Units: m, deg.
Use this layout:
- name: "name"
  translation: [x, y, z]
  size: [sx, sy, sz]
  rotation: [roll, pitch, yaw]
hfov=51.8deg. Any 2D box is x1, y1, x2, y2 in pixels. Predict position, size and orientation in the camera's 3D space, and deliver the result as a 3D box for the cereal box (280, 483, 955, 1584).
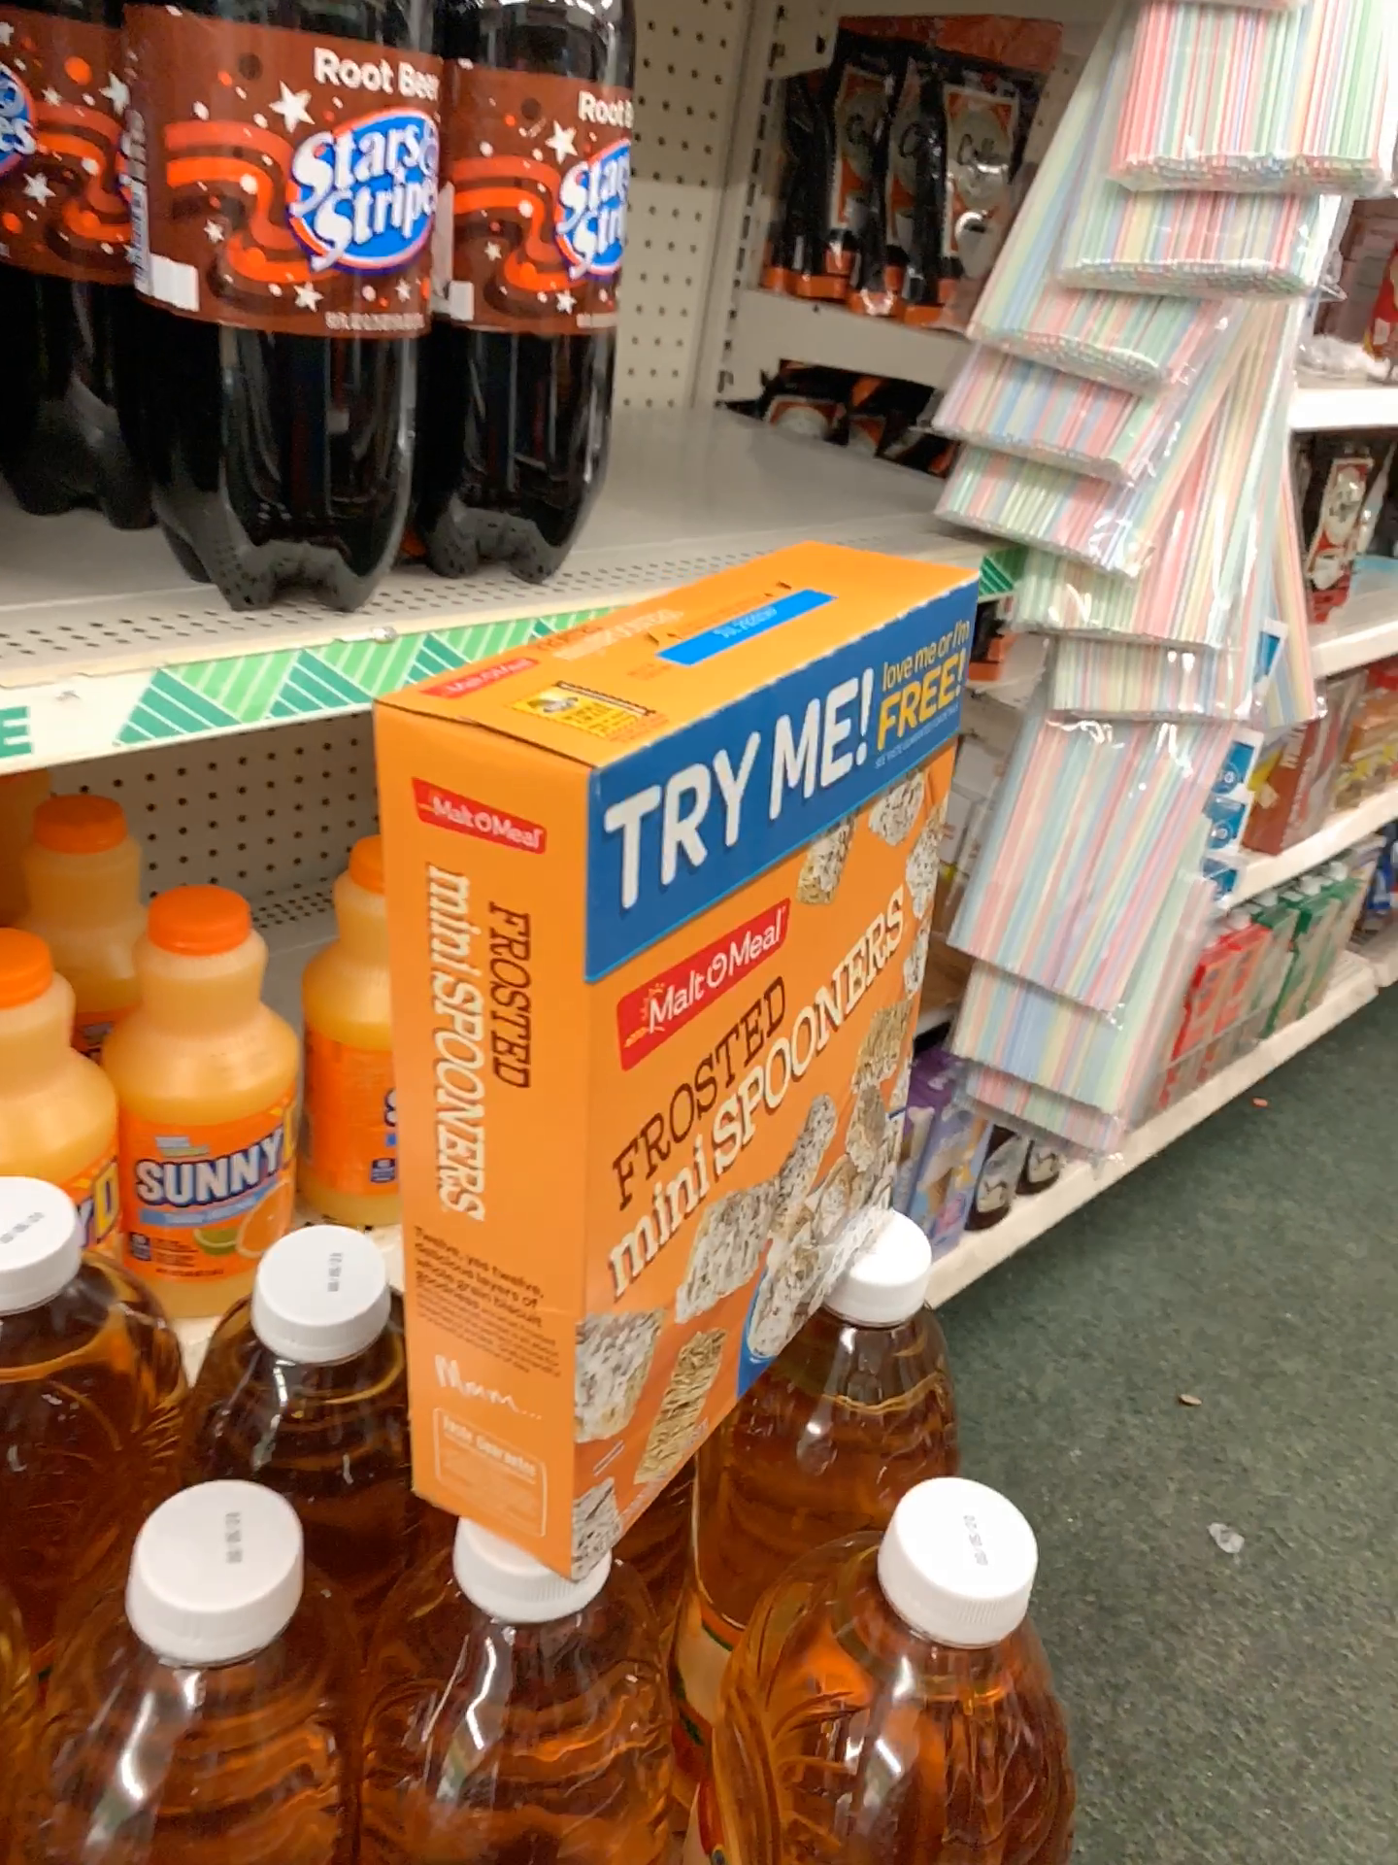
- name: "cereal box"
  translation: [-0.012, 0.013, 0.362]
  size: [0.060, 0.219, 0.171]
  rotation: [18, 29, 28]
